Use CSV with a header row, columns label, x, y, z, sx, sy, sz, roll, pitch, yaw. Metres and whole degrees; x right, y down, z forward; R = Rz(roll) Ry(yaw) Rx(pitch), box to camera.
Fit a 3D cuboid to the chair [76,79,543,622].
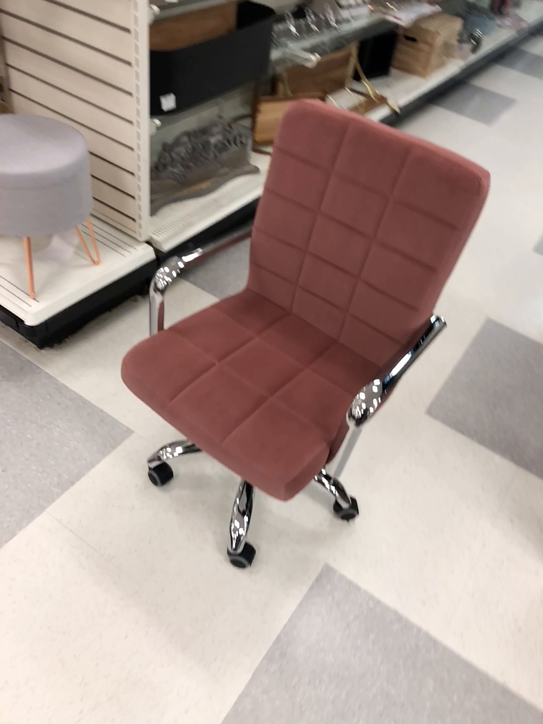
label,x,y,z,sx,sy,sz,roll,pitch,yaw
chair,0.035,-0.020,1.277,0.565,0.842,0.571,33,48,21
